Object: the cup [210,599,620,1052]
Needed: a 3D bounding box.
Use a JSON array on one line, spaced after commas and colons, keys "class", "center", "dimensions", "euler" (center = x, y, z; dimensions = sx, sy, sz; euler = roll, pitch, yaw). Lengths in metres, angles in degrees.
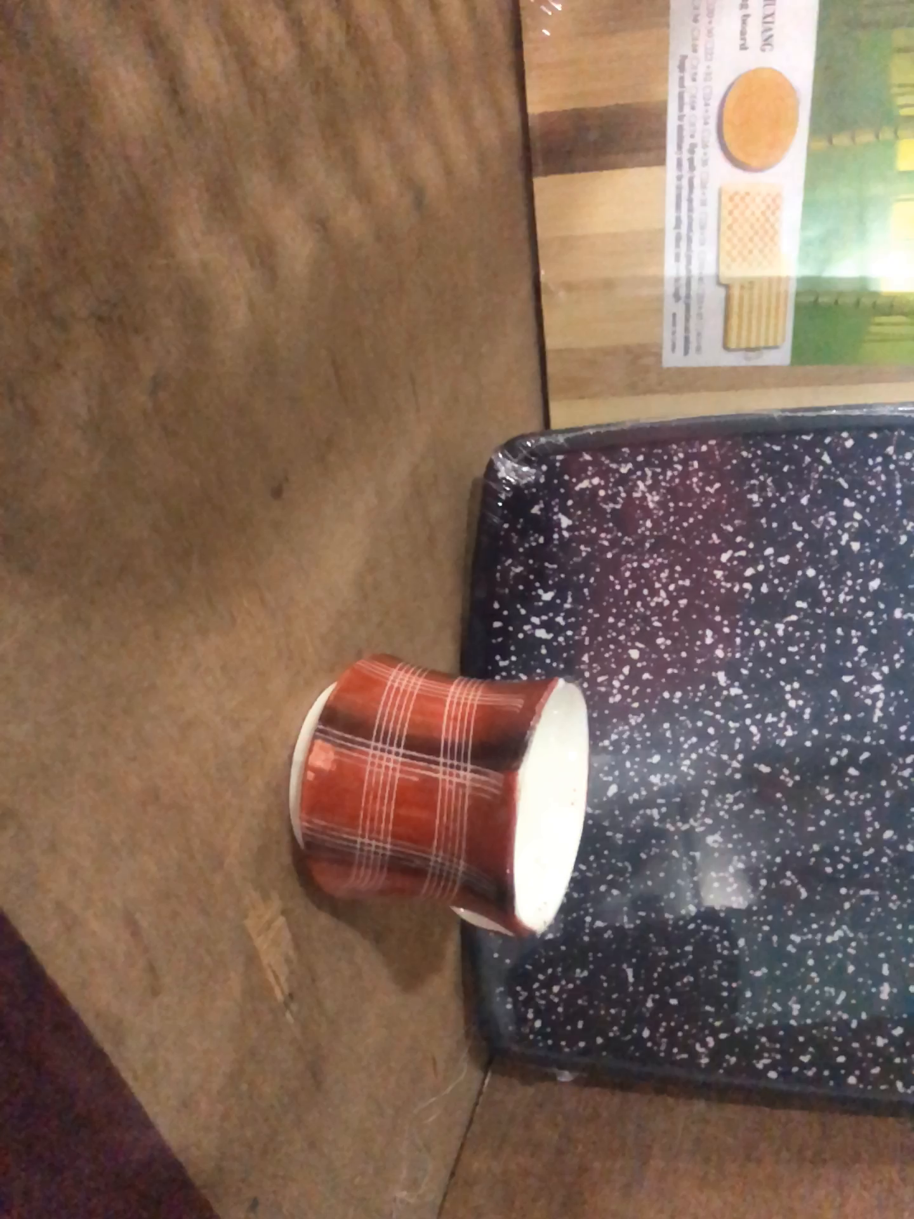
[{"class": "cup", "center": [-0.003, 0.052, 0.247], "dimensions": [0.090, 0.060, 0.060], "euler": [71, 32, -43]}]
